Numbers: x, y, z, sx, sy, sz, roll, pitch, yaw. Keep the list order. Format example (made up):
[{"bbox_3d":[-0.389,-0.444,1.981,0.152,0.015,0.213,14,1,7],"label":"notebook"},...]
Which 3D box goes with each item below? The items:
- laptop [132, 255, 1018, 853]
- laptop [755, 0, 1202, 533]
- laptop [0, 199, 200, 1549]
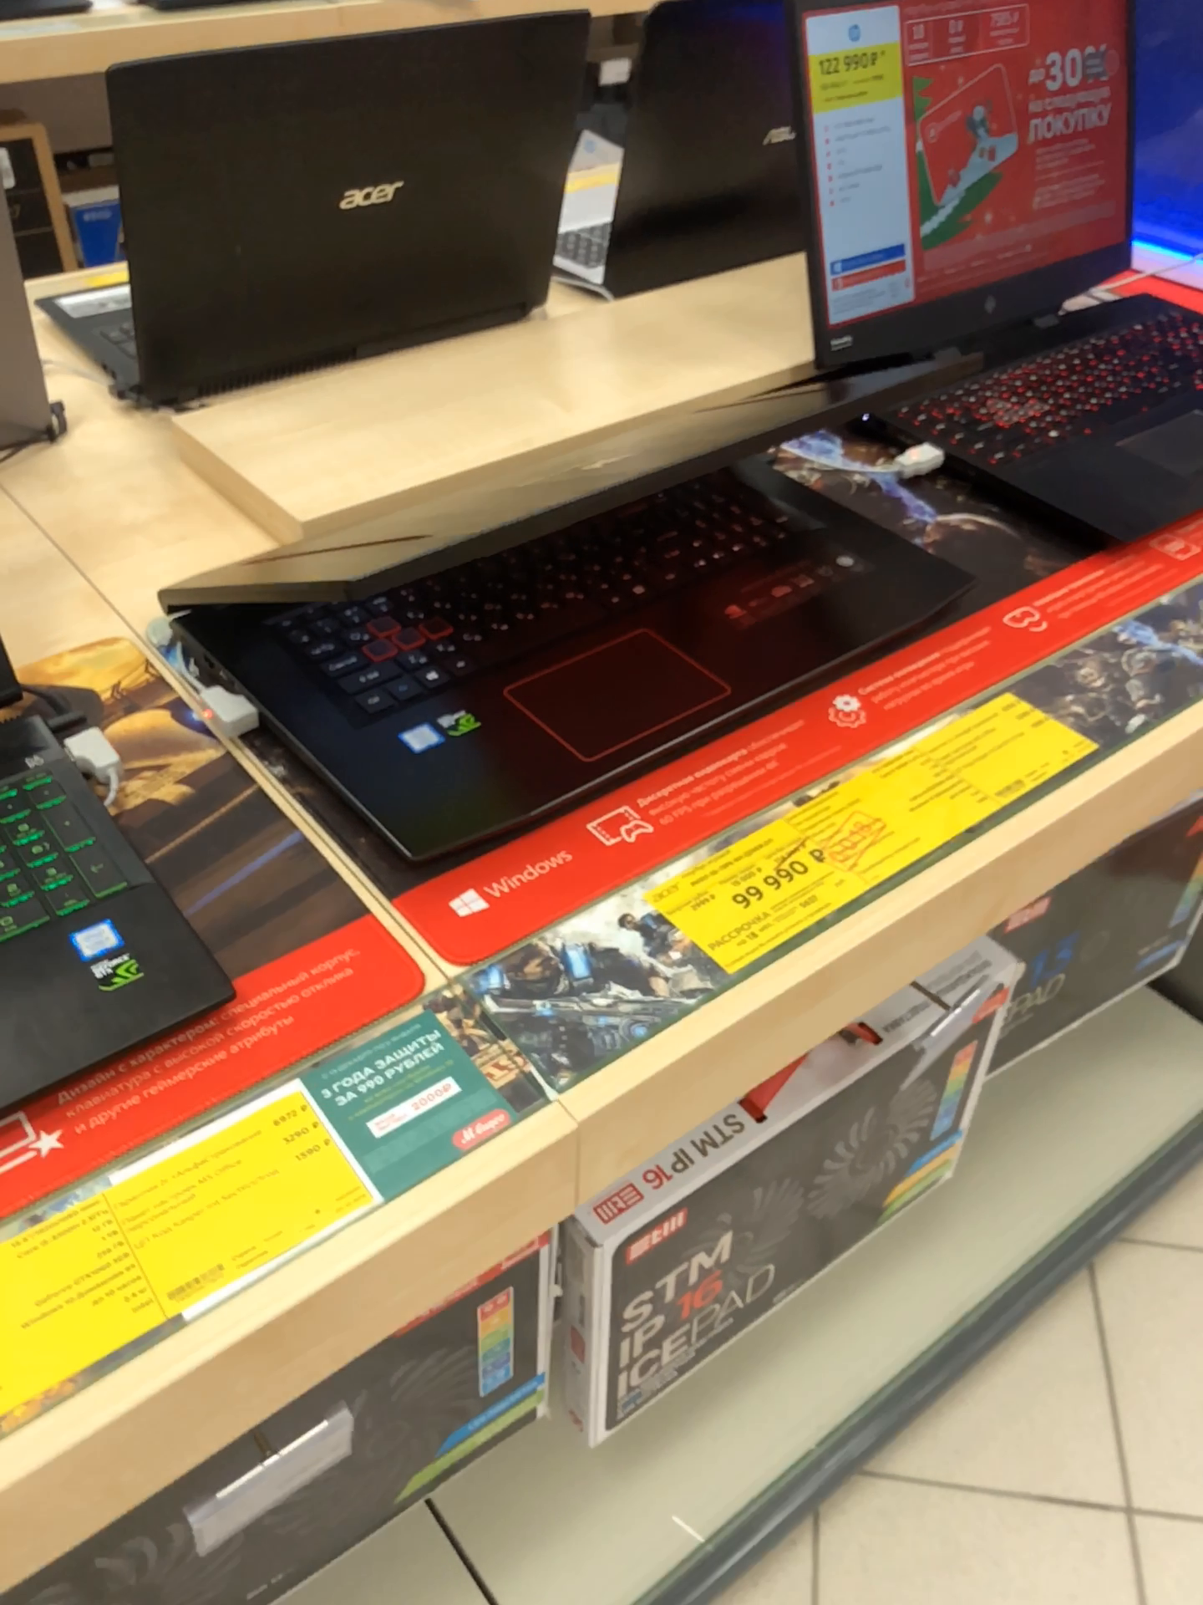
[{"bbox_3d":[-0.006,-0.176,0.773,0.420,0.124,0.261,-27,48,-29],"label":"laptop"},{"bbox_3d":[0.397,-0.444,0.998,0.378,0.250,0.356,-26,49,-29],"label":"laptop"},{"bbox_3d":[-0.402,-0.036,0.501,0.351,0.230,0.343,-24,47,-30],"label":"laptop"}]
